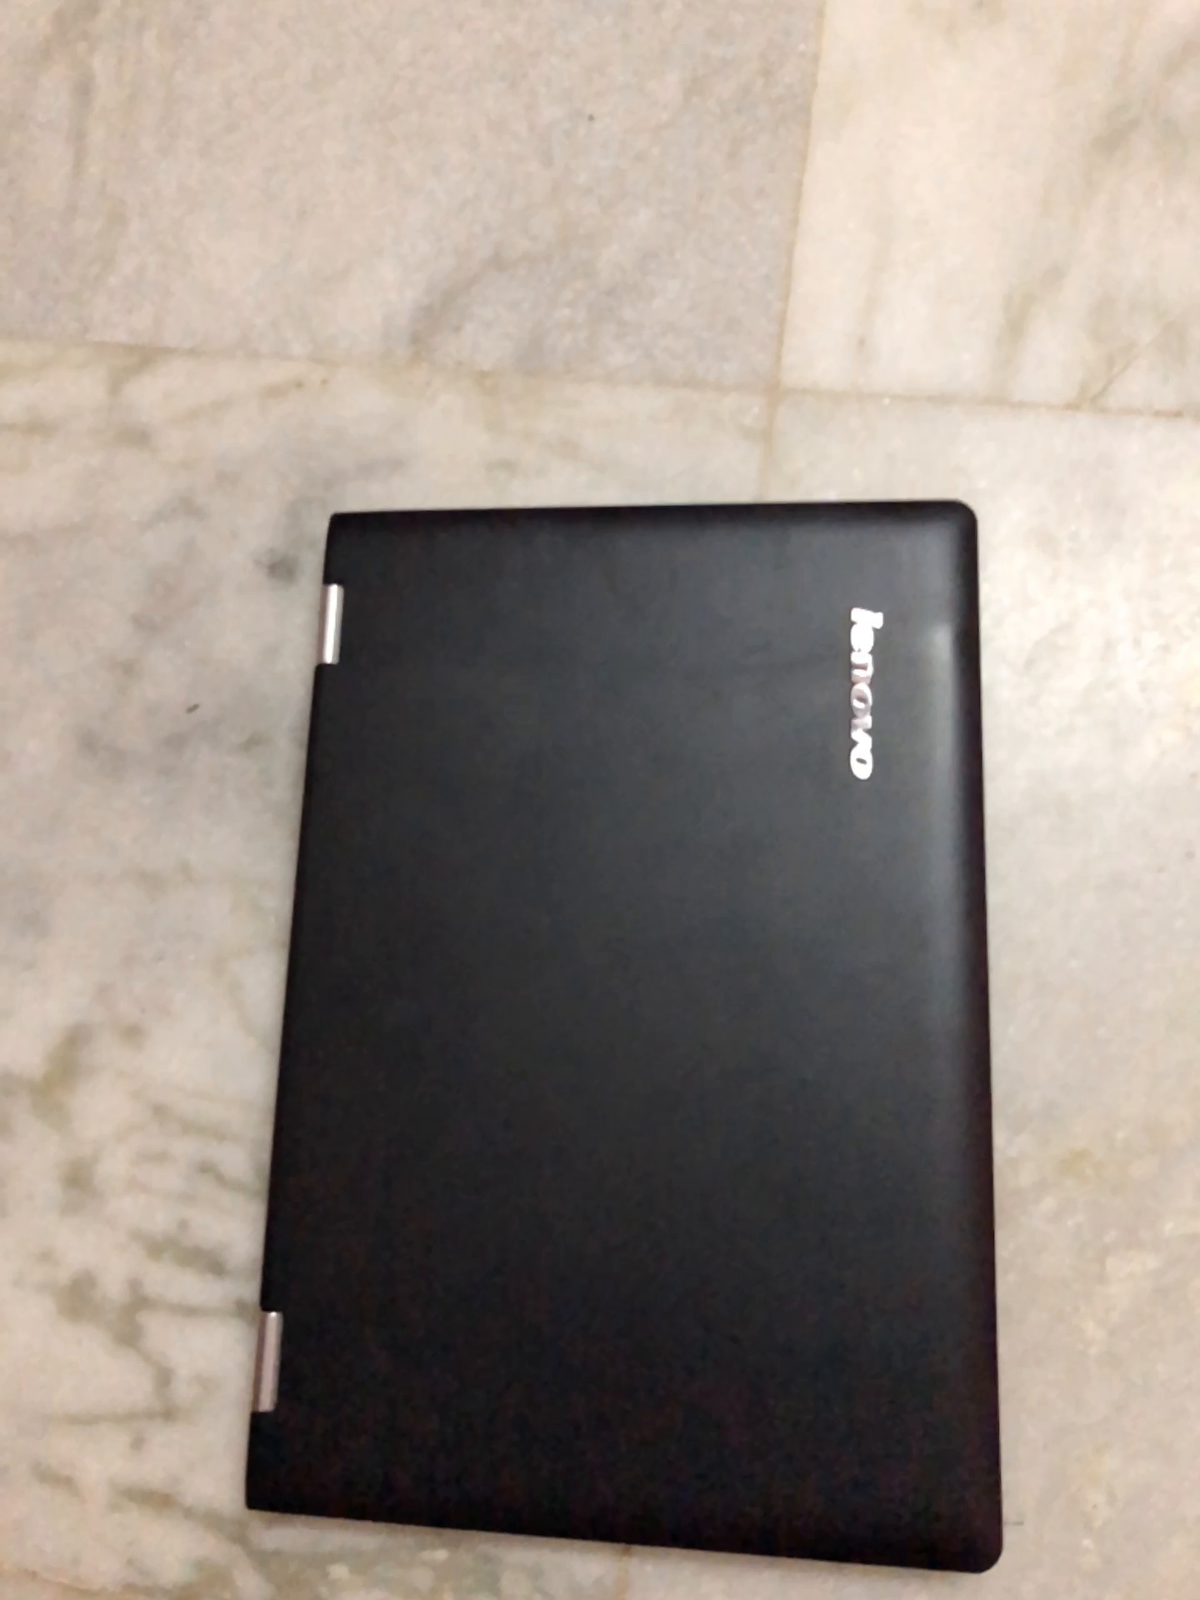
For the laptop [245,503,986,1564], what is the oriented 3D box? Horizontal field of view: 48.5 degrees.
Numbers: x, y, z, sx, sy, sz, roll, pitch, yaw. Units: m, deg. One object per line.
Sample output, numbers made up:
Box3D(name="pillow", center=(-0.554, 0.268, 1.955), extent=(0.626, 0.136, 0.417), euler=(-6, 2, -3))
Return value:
Box3D(name="laptop", center=(0.007, 0.059, 0.433), extent=(0.222, 0.002, 0.328), euler=(1, 77, 8))
